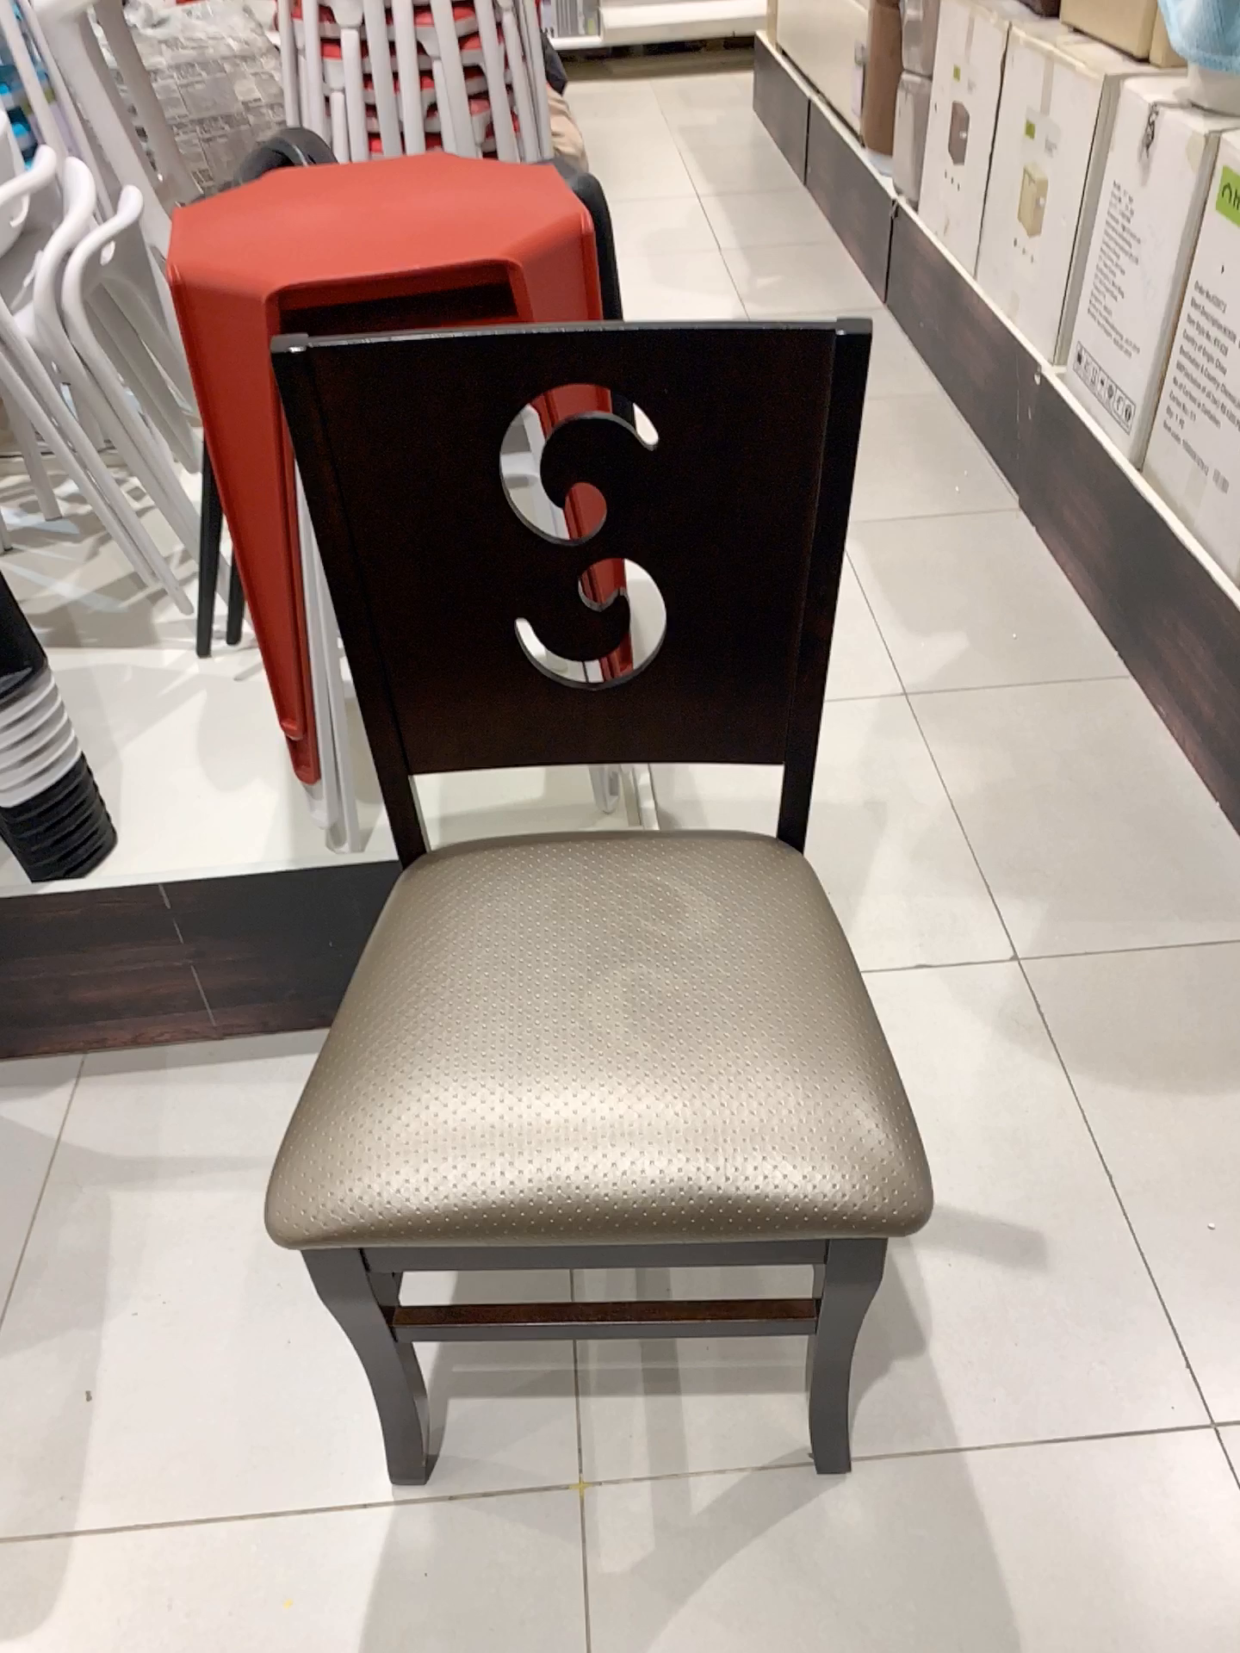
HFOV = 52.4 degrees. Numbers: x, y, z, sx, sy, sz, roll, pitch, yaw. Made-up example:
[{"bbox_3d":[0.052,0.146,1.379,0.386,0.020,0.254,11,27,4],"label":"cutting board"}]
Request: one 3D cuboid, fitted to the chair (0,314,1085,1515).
[{"bbox_3d":[-0.036,0.106,1.045,0.500,0.846,0.522,-2,40,-1],"label":"chair"}]
